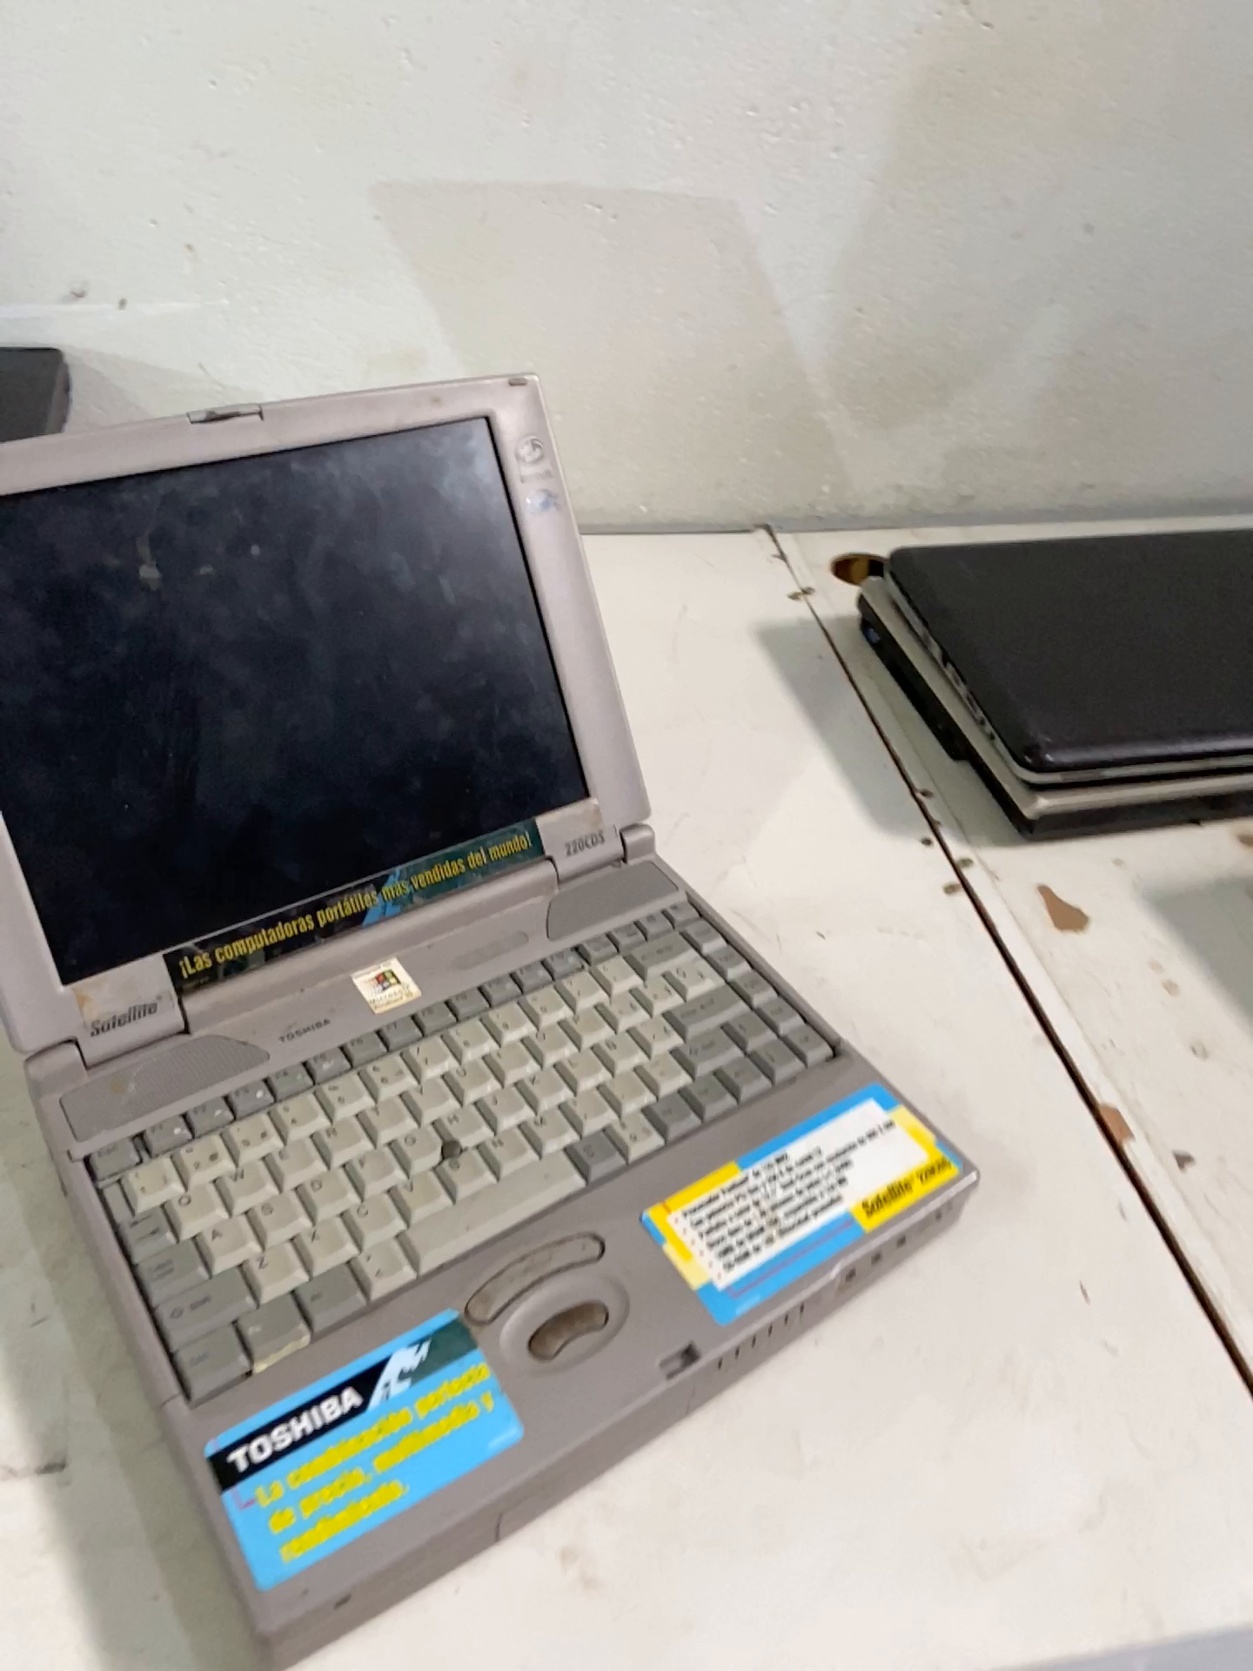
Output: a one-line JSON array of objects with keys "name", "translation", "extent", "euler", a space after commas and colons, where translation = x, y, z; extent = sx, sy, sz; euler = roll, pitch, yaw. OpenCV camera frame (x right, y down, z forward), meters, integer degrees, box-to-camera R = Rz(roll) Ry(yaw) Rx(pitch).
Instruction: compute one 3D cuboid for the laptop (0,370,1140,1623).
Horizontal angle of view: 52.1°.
[{"name": "laptop", "translation": [-0.074, 0.003, 0.489], "extent": [0.302, 0.195, 0.359], "euler": [-20, 46, -28]}]
